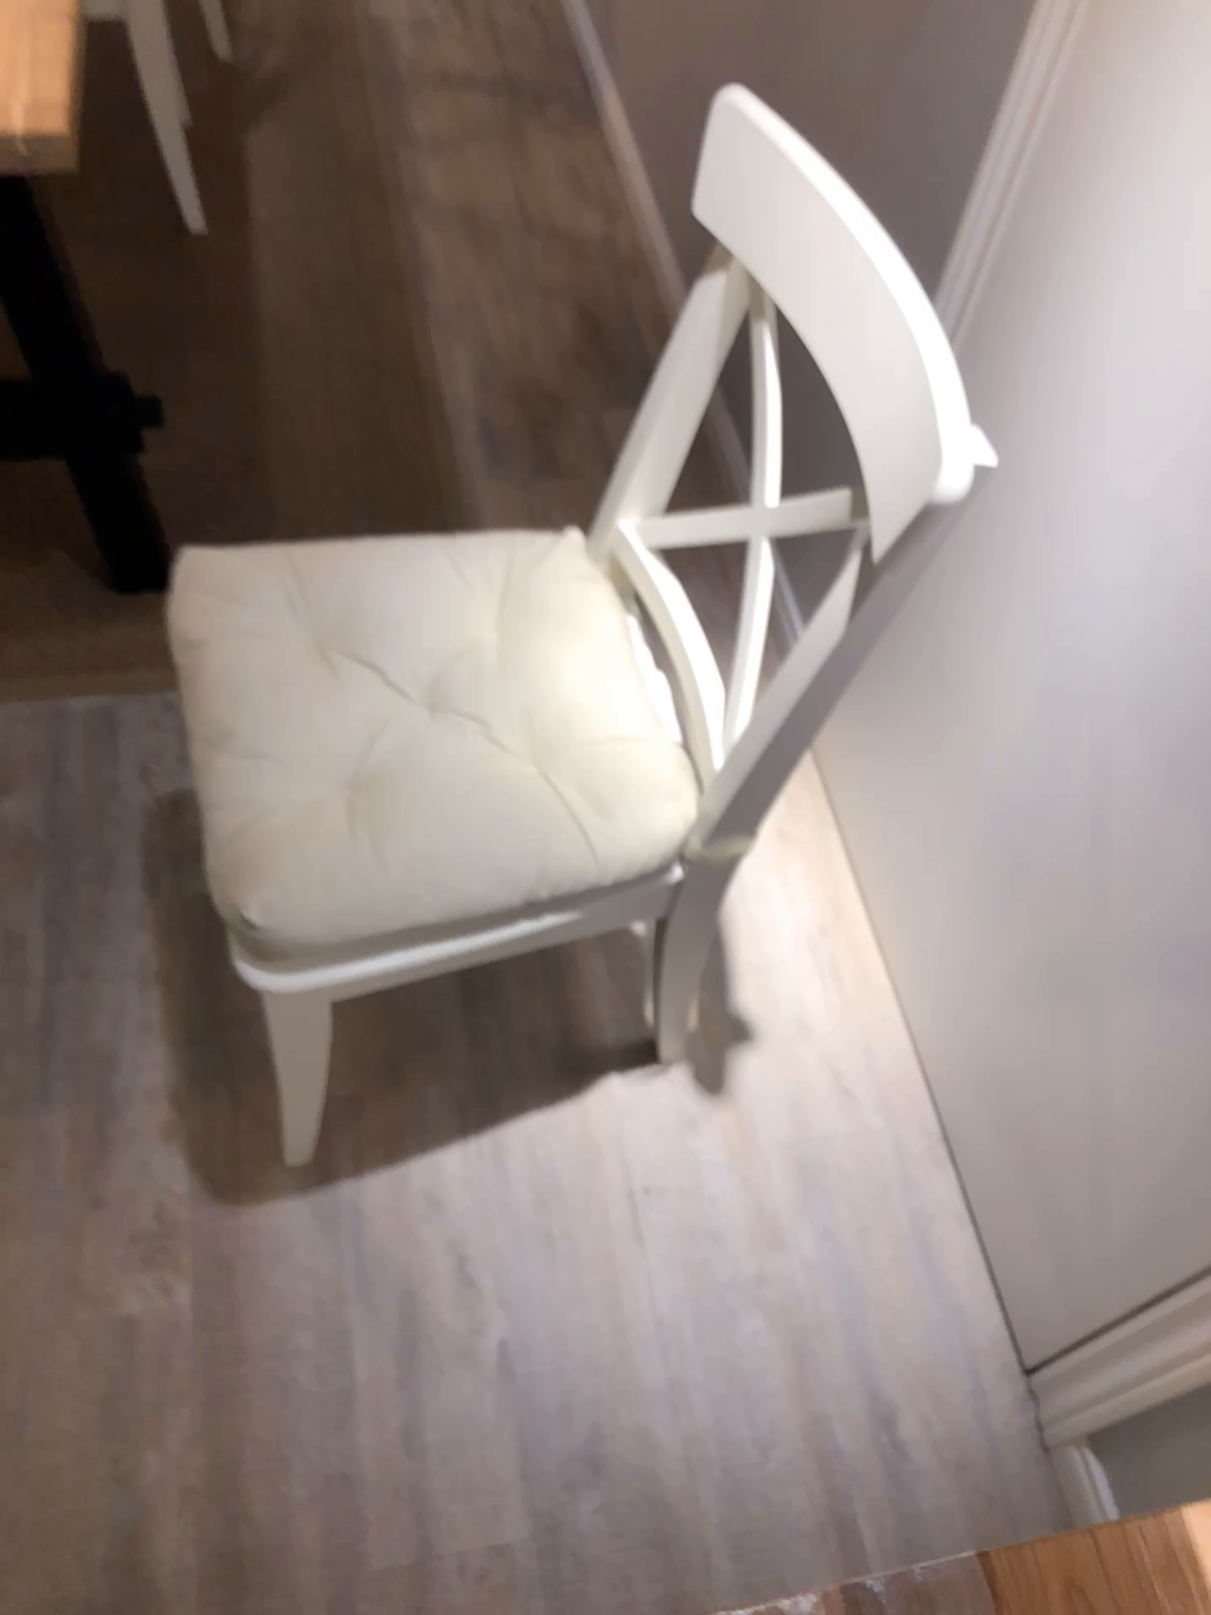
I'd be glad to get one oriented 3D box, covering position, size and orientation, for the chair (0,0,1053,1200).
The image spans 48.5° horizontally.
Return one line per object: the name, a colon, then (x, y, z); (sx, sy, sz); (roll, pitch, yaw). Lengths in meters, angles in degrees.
chair: (-0.119, -0.096, 1.114); (0.510, 0.876, 0.452); (-11, 58, -14)
